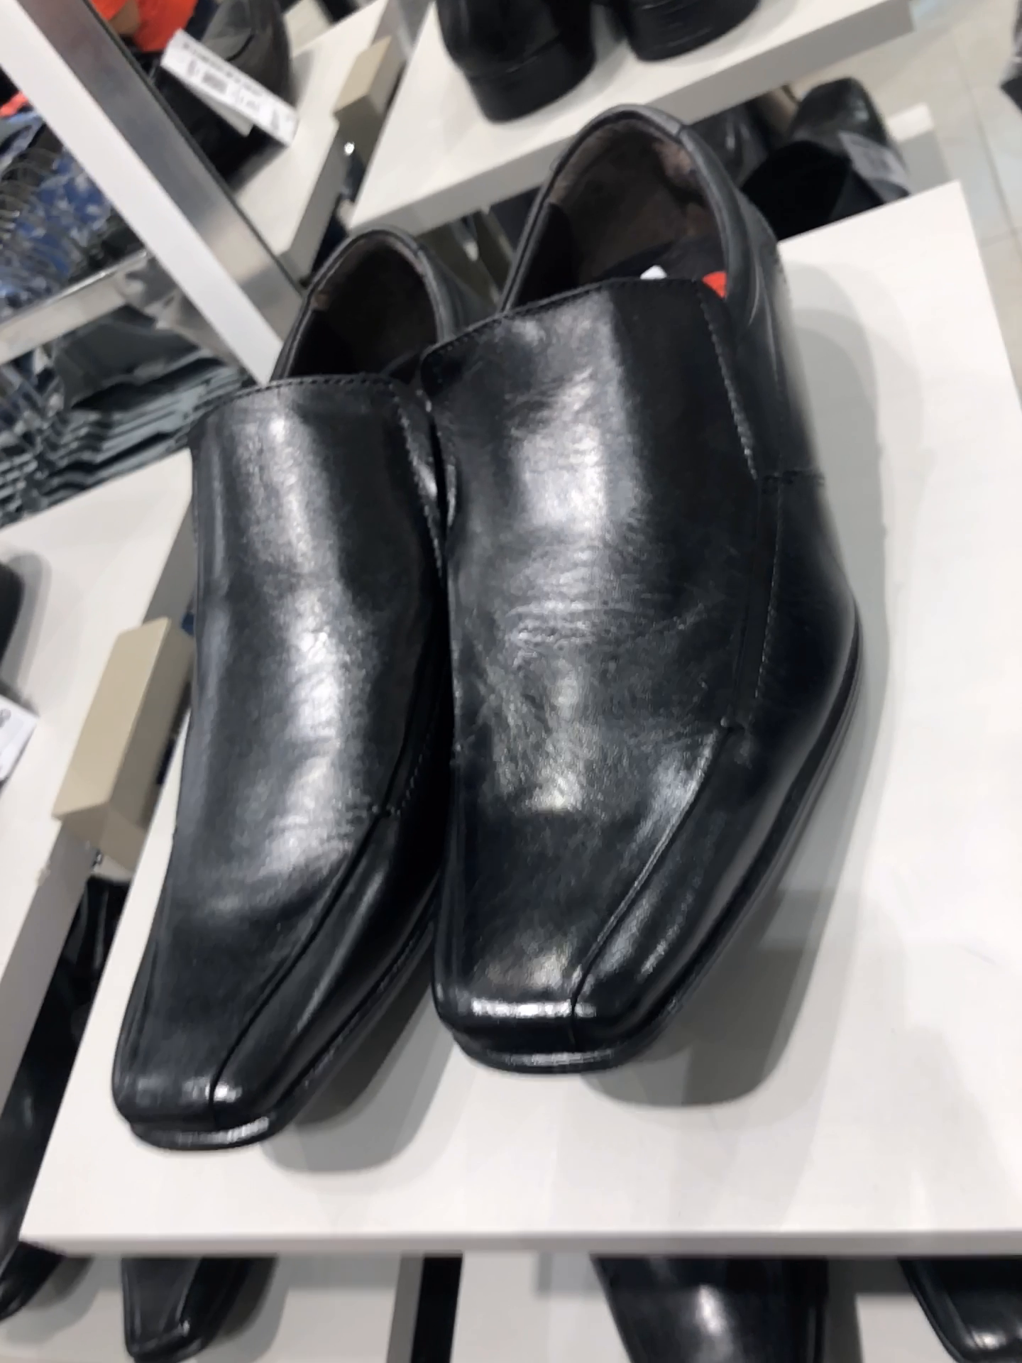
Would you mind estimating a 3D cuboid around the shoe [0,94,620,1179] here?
[{"bbox_3d":[-0.051,-0.029,0.333,0.110,0.099,0.302,-12,48,27],"label":"shoe"}]

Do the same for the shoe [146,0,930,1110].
[{"bbox_3d":[0.027,-0.051,0.290,0.110,0.099,0.281,-12,48,27],"label":"shoe"}]
